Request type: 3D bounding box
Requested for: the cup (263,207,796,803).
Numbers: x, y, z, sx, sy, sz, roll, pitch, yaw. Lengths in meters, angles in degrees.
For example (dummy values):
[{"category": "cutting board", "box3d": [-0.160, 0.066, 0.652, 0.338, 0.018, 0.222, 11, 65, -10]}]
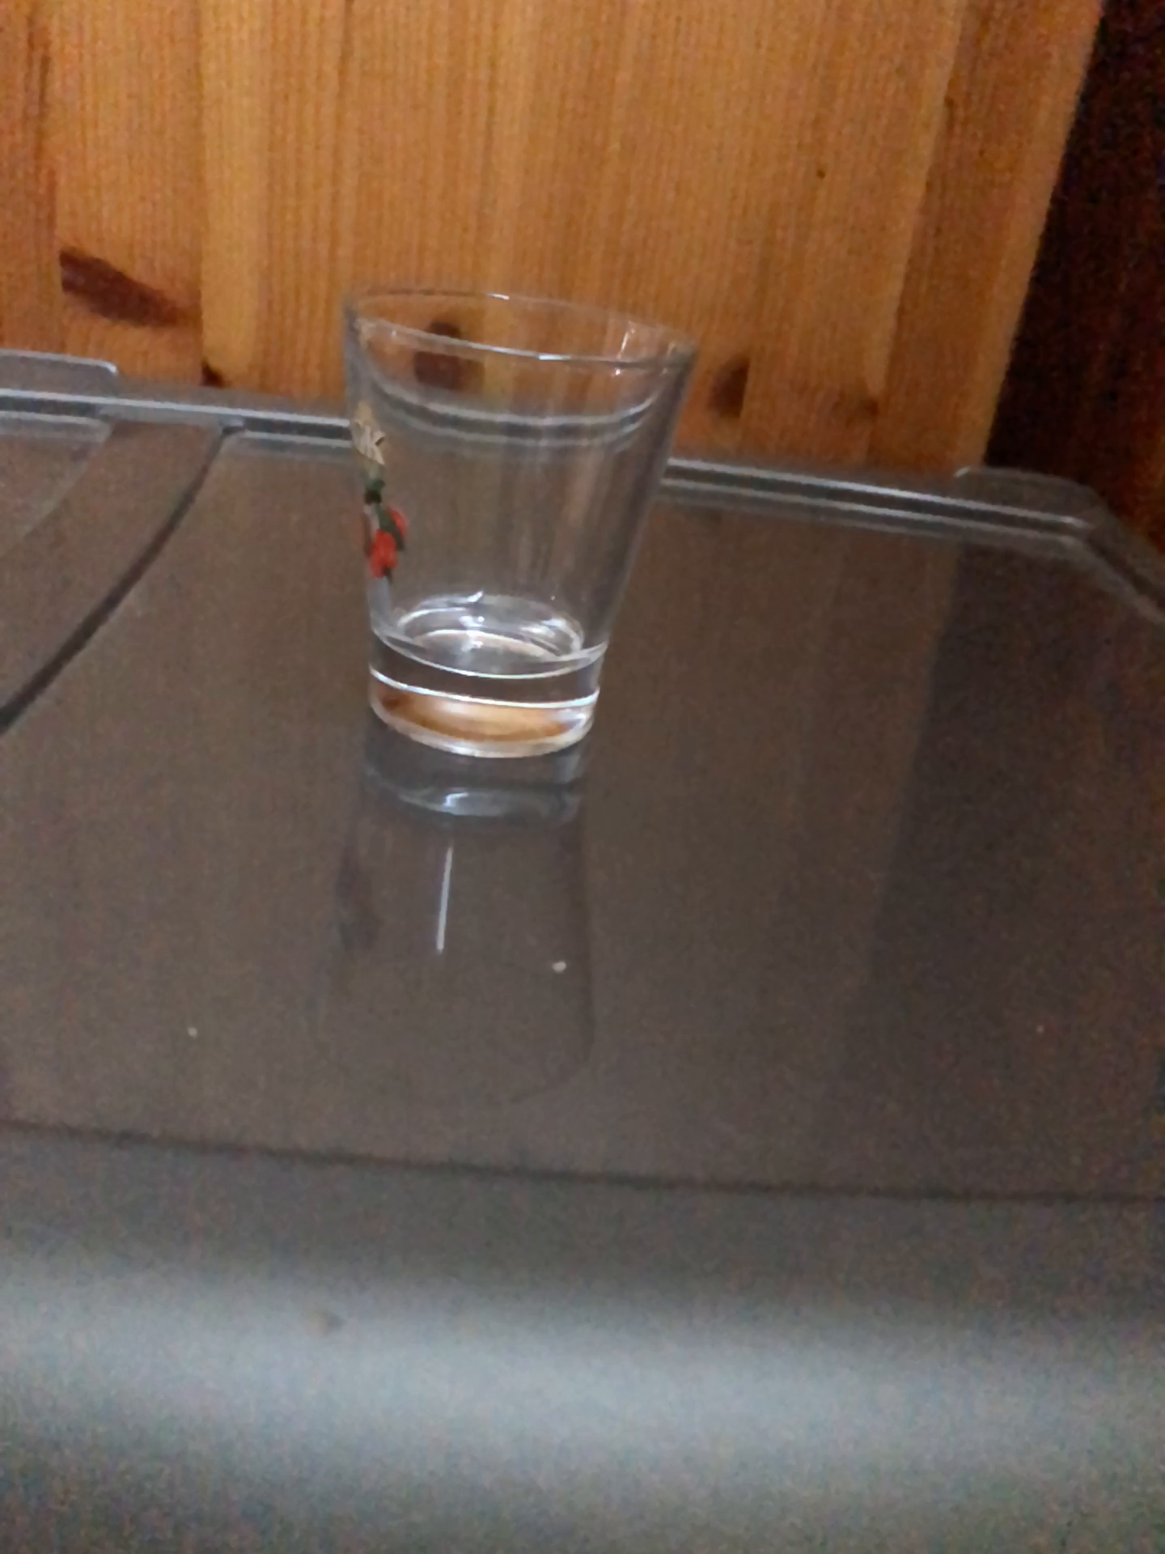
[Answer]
[{"category": "cup", "box3d": [-0.012, -0.051, 0.227, 0.060, 0.080, 0.060, 7, 27, -4]}]
